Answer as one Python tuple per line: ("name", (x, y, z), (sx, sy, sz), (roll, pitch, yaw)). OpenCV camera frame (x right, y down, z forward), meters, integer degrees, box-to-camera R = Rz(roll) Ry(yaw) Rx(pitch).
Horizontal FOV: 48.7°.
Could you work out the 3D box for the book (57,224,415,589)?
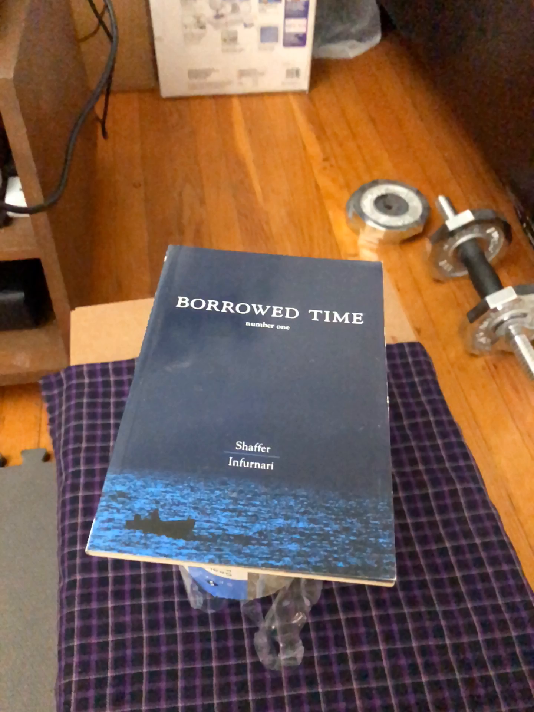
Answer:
("book", (-0.005, 0.007, 0.340), (0.160, 0.010, 0.231), (5, 50, 1))
